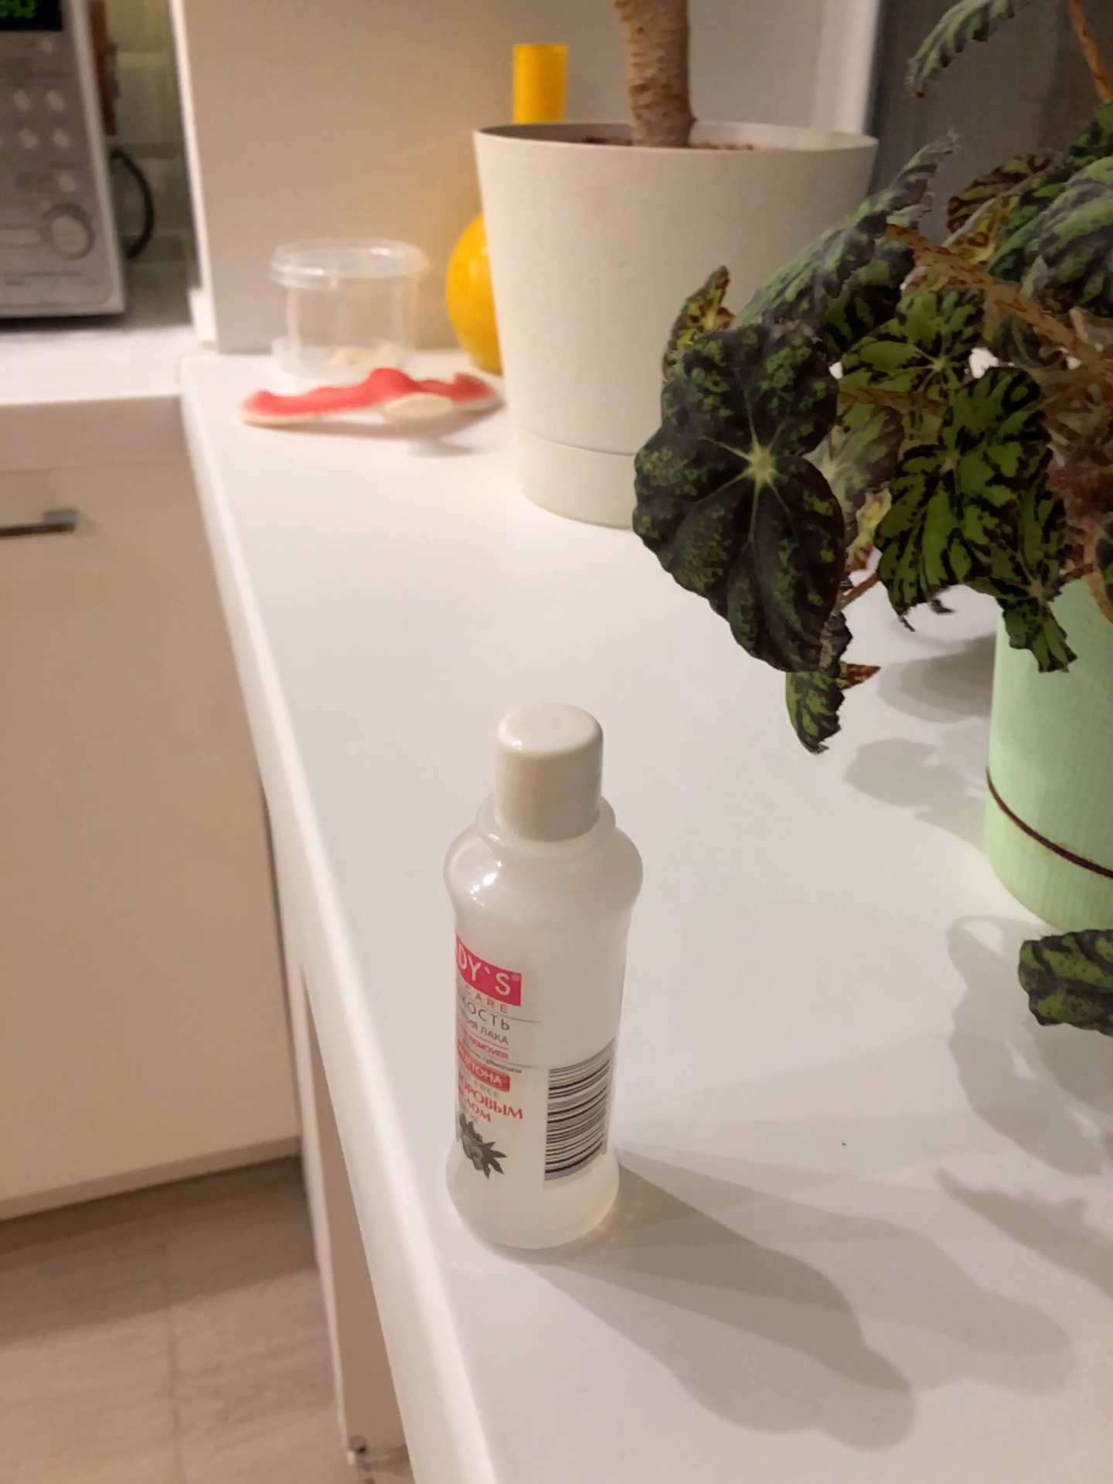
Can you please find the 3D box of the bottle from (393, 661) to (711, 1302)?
[{"bbox_3d":[-0.002,0.044,0.224,0.037,0.105,0.037,1,29,-1],"label":"bottle"}]
